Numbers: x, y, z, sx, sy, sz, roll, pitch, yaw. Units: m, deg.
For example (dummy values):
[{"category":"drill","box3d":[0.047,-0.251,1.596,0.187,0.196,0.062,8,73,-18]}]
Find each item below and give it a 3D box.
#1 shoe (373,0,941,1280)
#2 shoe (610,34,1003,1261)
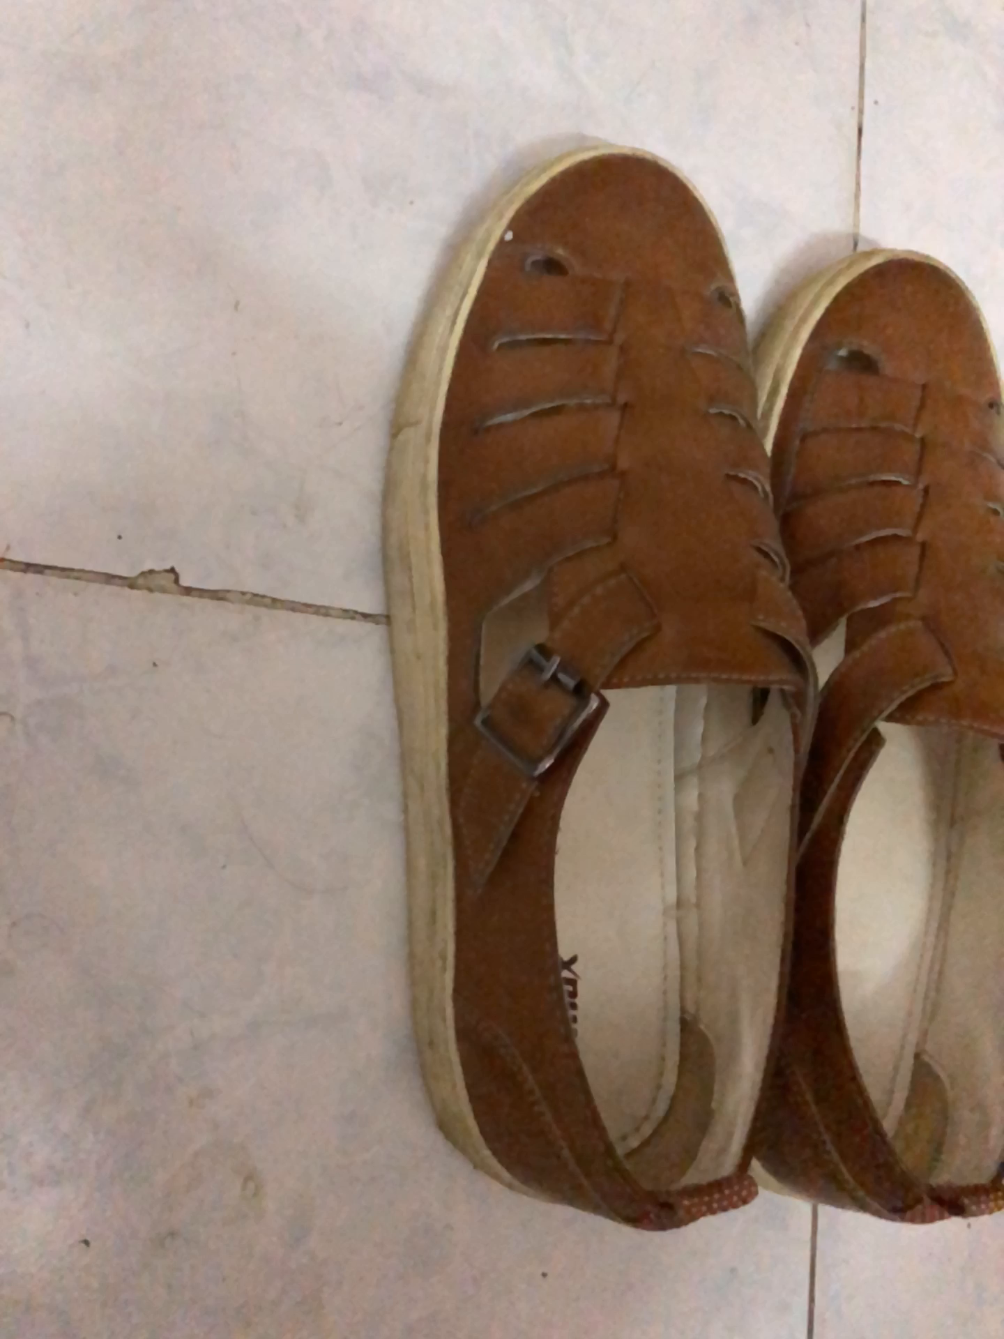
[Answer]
[{"category":"shoe","box3d":[0.035,-0.019,0.307,0.110,0.100,0.300,3,82,-22]},{"category":"shoe","box3d":[0.117,-0.004,0.333,0.110,0.100,0.300,10,80,-21]}]
